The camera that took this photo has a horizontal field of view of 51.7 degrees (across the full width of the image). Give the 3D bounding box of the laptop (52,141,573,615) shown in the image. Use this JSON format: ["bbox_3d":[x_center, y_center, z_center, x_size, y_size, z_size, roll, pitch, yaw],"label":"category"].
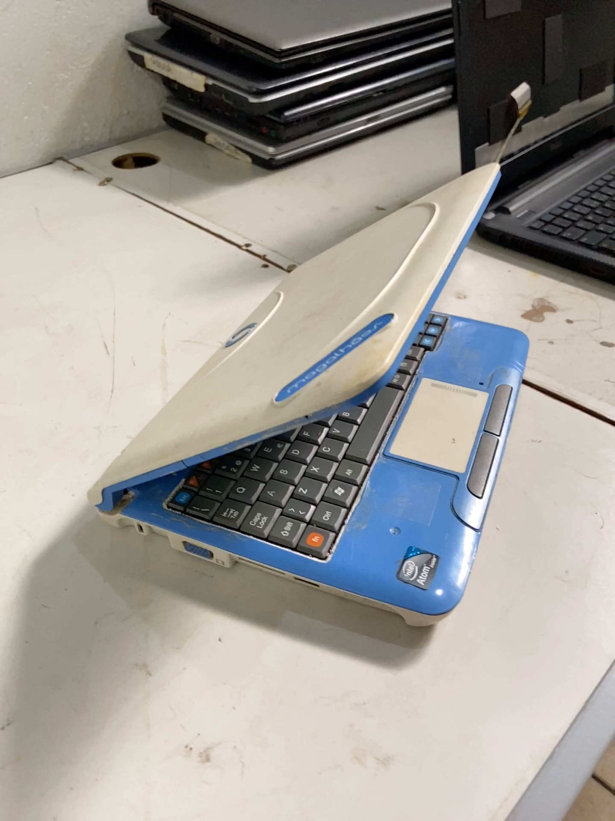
[{"bbox_3d":[0.027,-0.047,0.365,0.182,0.116,0.248,15,43,19],"label":"laptop"}]
